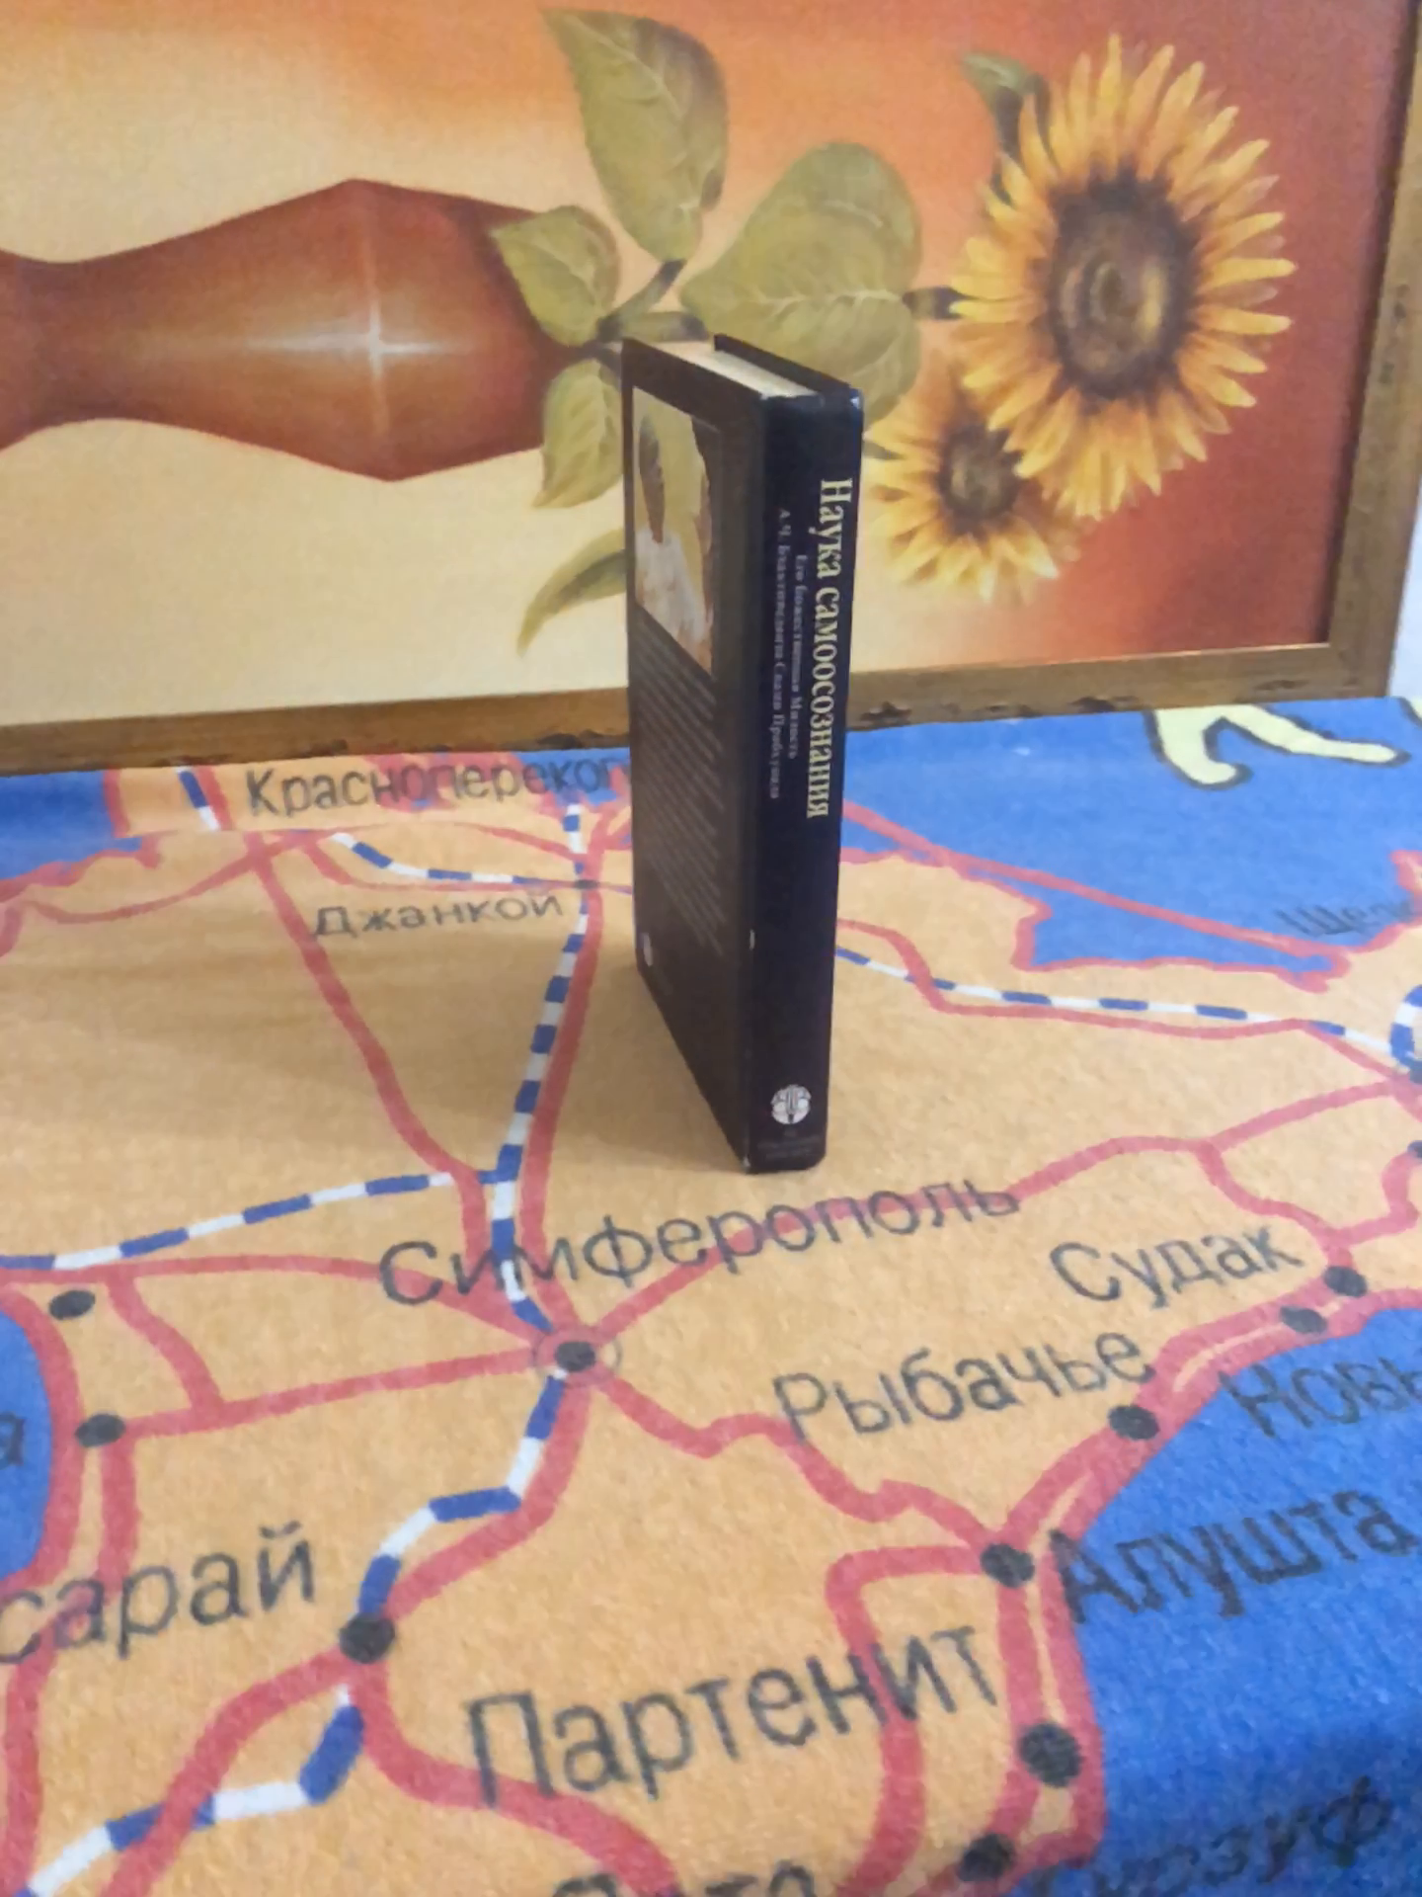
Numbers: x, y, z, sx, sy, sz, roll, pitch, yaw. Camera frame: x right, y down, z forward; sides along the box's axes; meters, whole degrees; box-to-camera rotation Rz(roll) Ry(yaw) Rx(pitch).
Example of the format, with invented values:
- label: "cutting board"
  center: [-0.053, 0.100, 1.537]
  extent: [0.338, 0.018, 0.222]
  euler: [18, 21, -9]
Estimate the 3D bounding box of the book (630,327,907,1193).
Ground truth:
- label: "book"
  center: [0.007, -0.059, 0.443]
  extent: [0.030, 0.206, 0.141]
  euler: [-6, 27, -14]
